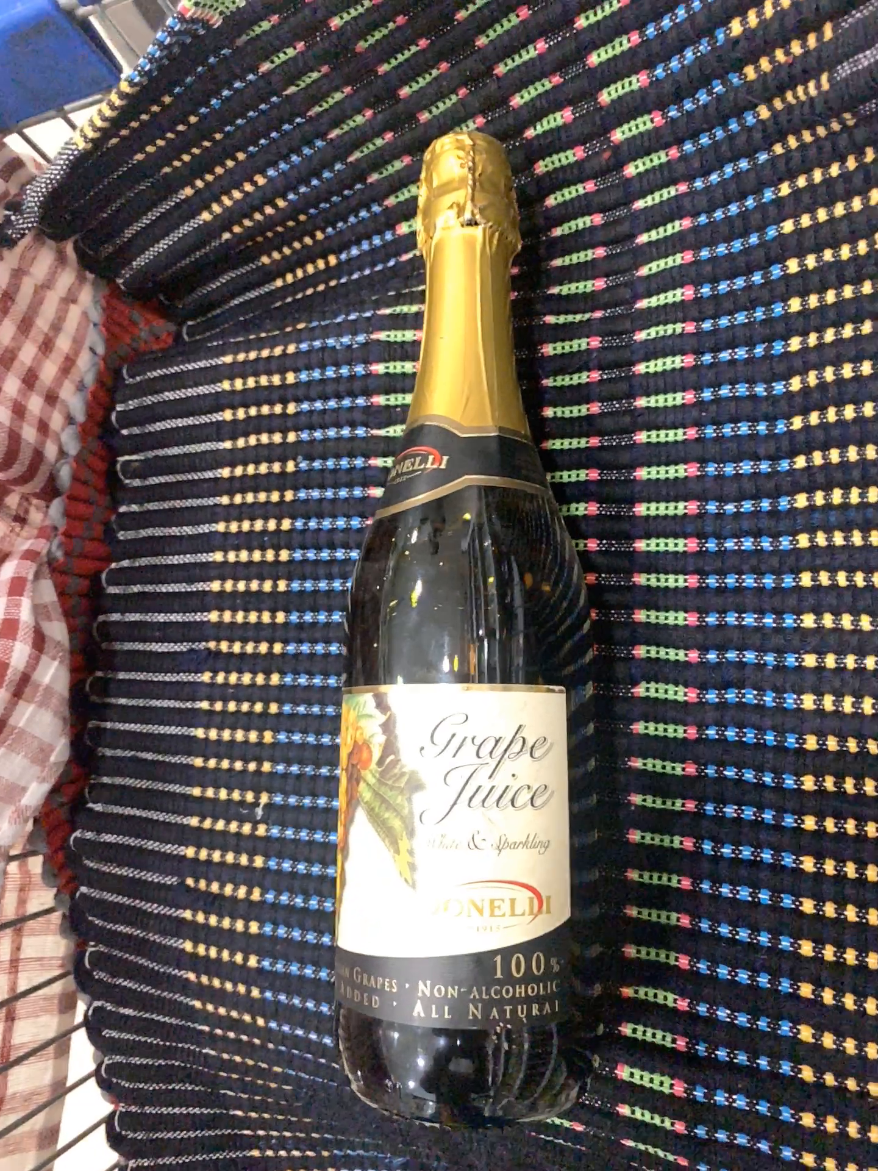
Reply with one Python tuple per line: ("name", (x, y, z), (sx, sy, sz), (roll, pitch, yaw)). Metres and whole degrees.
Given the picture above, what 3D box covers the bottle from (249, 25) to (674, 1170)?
("bottle", (0.018, -0.007, 0.279), (0.090, 0.080, 0.300), (-3, 73, 22))
